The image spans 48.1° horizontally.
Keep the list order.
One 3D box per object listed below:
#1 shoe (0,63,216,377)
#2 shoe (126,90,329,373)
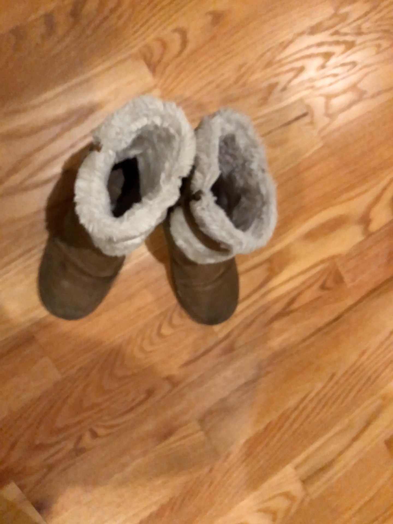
[{"bbox_3d":[-0.105,-0.041,0.480,0.106,0.194,0.254,23,88,-17],"label":"shoe"},{"bbox_3d":[0.023,-0.035,0.522,0.113,0.194,0.254,-20,100,-14],"label":"shoe"}]
